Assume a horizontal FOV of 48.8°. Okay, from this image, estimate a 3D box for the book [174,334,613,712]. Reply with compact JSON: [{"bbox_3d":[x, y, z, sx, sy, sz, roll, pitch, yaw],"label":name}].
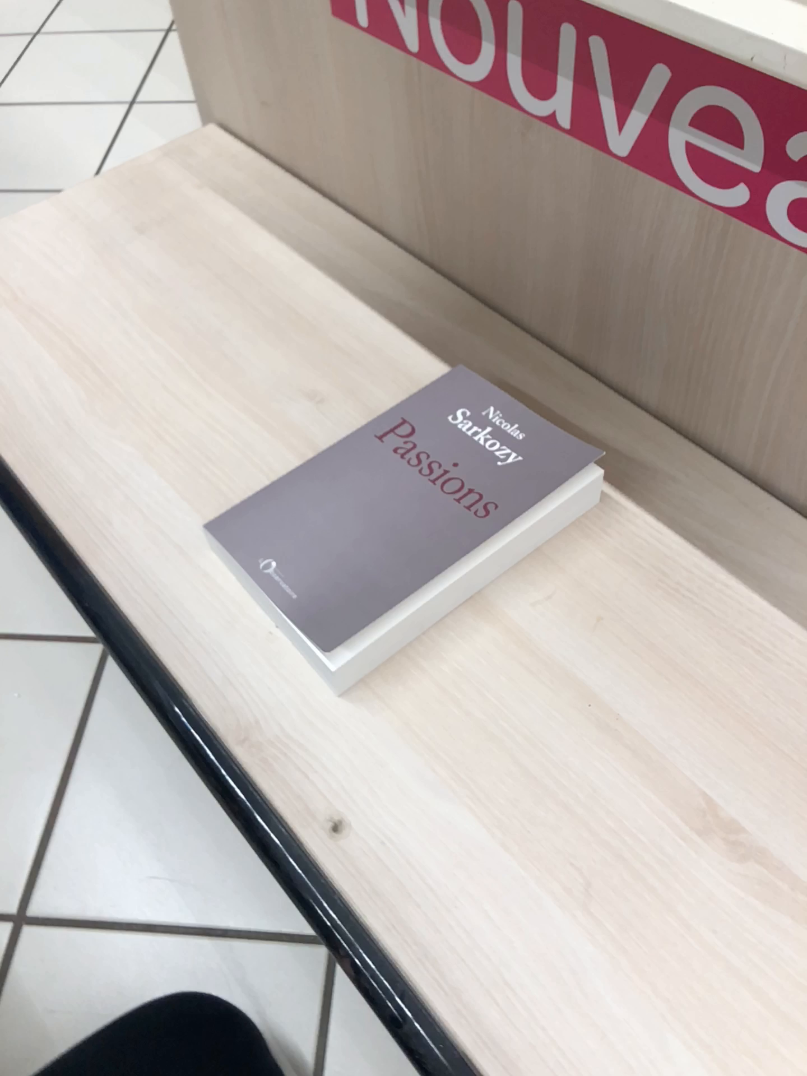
[{"bbox_3d":[-0.005,-0.022,0.567,0.225,0.044,0.157,-36,59,-19],"label":"book"}]
